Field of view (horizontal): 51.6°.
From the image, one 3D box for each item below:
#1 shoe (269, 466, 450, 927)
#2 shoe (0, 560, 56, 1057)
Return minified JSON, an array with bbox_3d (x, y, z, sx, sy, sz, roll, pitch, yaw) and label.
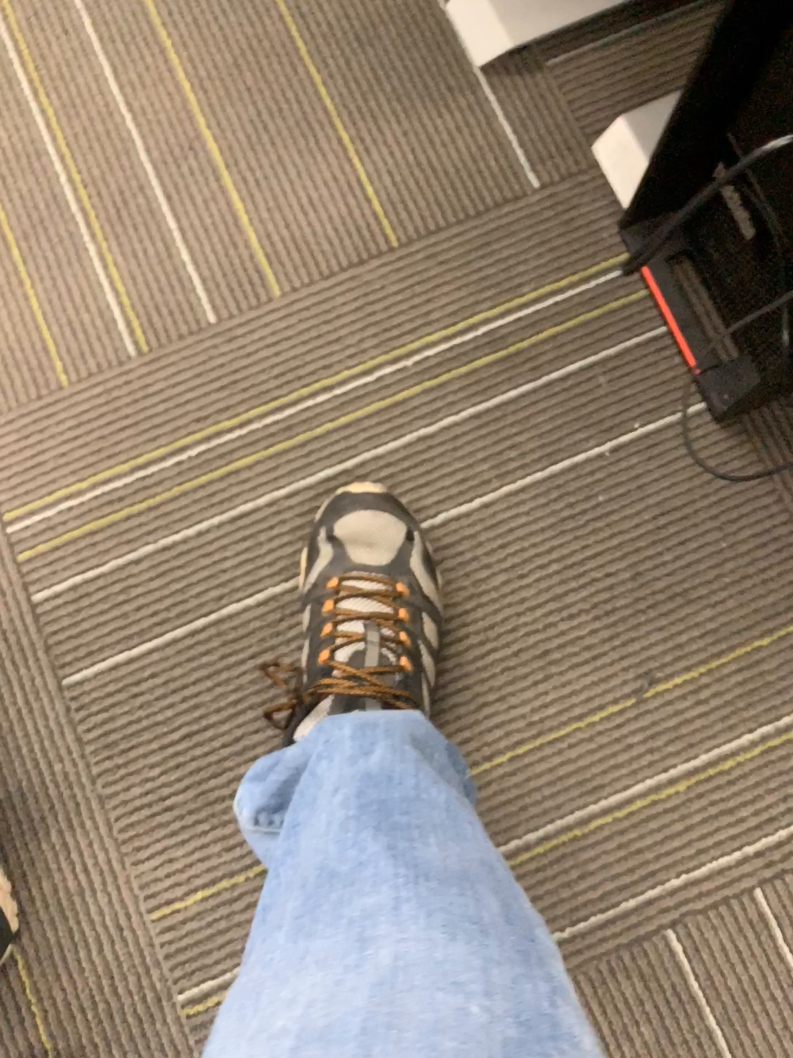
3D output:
[{"bbox_3d":[-0.024,0.120,0.636,0.122,0.095,0.322,1,81,1],"label":"shoe"},{"bbox_3d":[-0.383,0.201,0.627,0.125,0.095,0.323,-19,82,-2],"label":"shoe"}]
